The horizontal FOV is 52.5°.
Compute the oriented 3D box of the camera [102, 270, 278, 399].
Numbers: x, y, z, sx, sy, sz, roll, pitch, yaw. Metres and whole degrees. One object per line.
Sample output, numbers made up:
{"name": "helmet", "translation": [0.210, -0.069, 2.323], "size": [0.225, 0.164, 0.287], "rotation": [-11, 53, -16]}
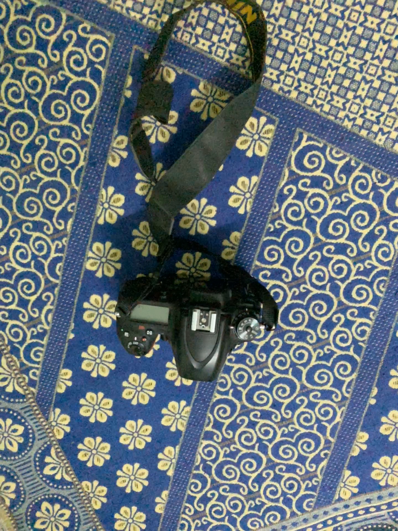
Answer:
{"name": "camera", "translation": [-0.008, 0.063, 0.401], "size": [0.150, 0.090, 0.088], "rotation": [5, 101, 1]}
